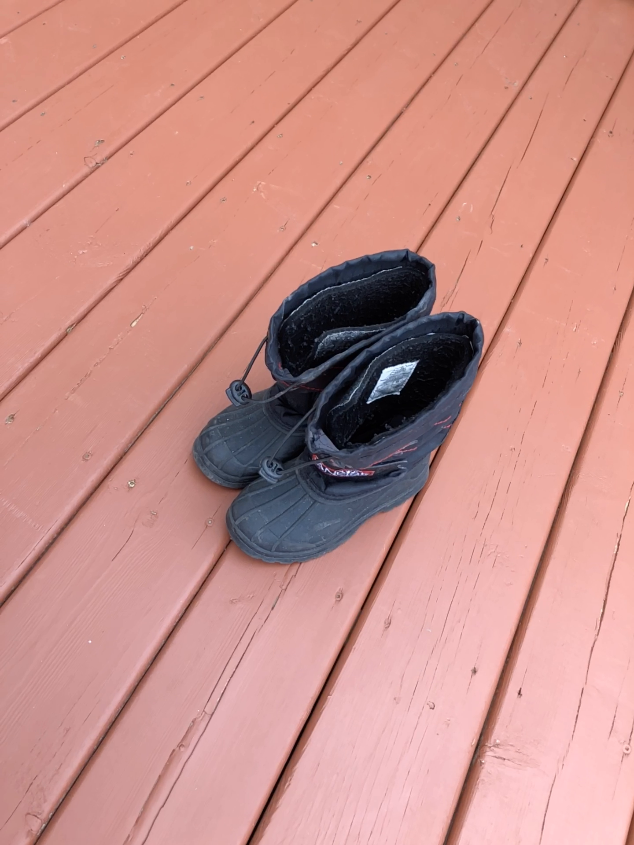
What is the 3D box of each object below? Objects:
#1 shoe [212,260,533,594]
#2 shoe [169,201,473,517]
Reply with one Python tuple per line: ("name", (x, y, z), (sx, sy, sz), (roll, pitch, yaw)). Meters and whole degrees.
("shoe", (0.031, 0.012, 0.592), (0.210, 0.230, 0.100), (-27, 66, -24))
("shoe", (-0.010, -0.049, 0.621), (0.210, 0.230, 0.100), (-23, 64, -22))
